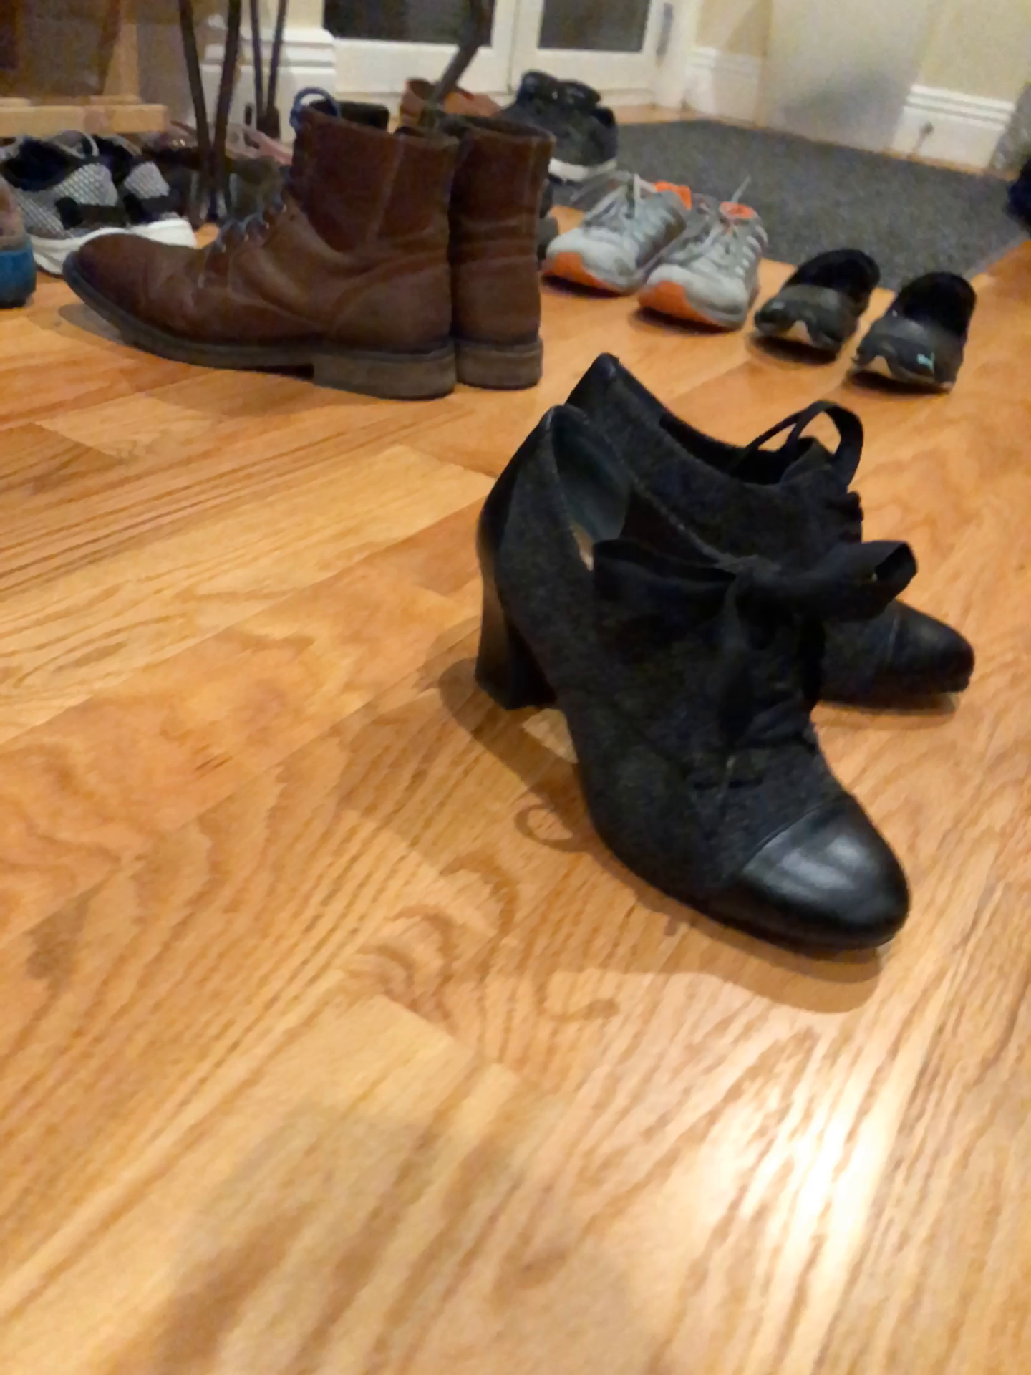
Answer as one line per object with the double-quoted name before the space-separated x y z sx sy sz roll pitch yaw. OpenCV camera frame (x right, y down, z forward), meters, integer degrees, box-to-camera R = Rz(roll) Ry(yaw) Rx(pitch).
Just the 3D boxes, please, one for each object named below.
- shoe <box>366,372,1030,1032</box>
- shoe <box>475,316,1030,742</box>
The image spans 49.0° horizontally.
"shoe" 0.051 -0.013 0.410 0.093 0.125 0.223 -18 41 -37
"shoe" 0.107 -0.078 0.527 0.223 0.125 0.088 15 32 9
